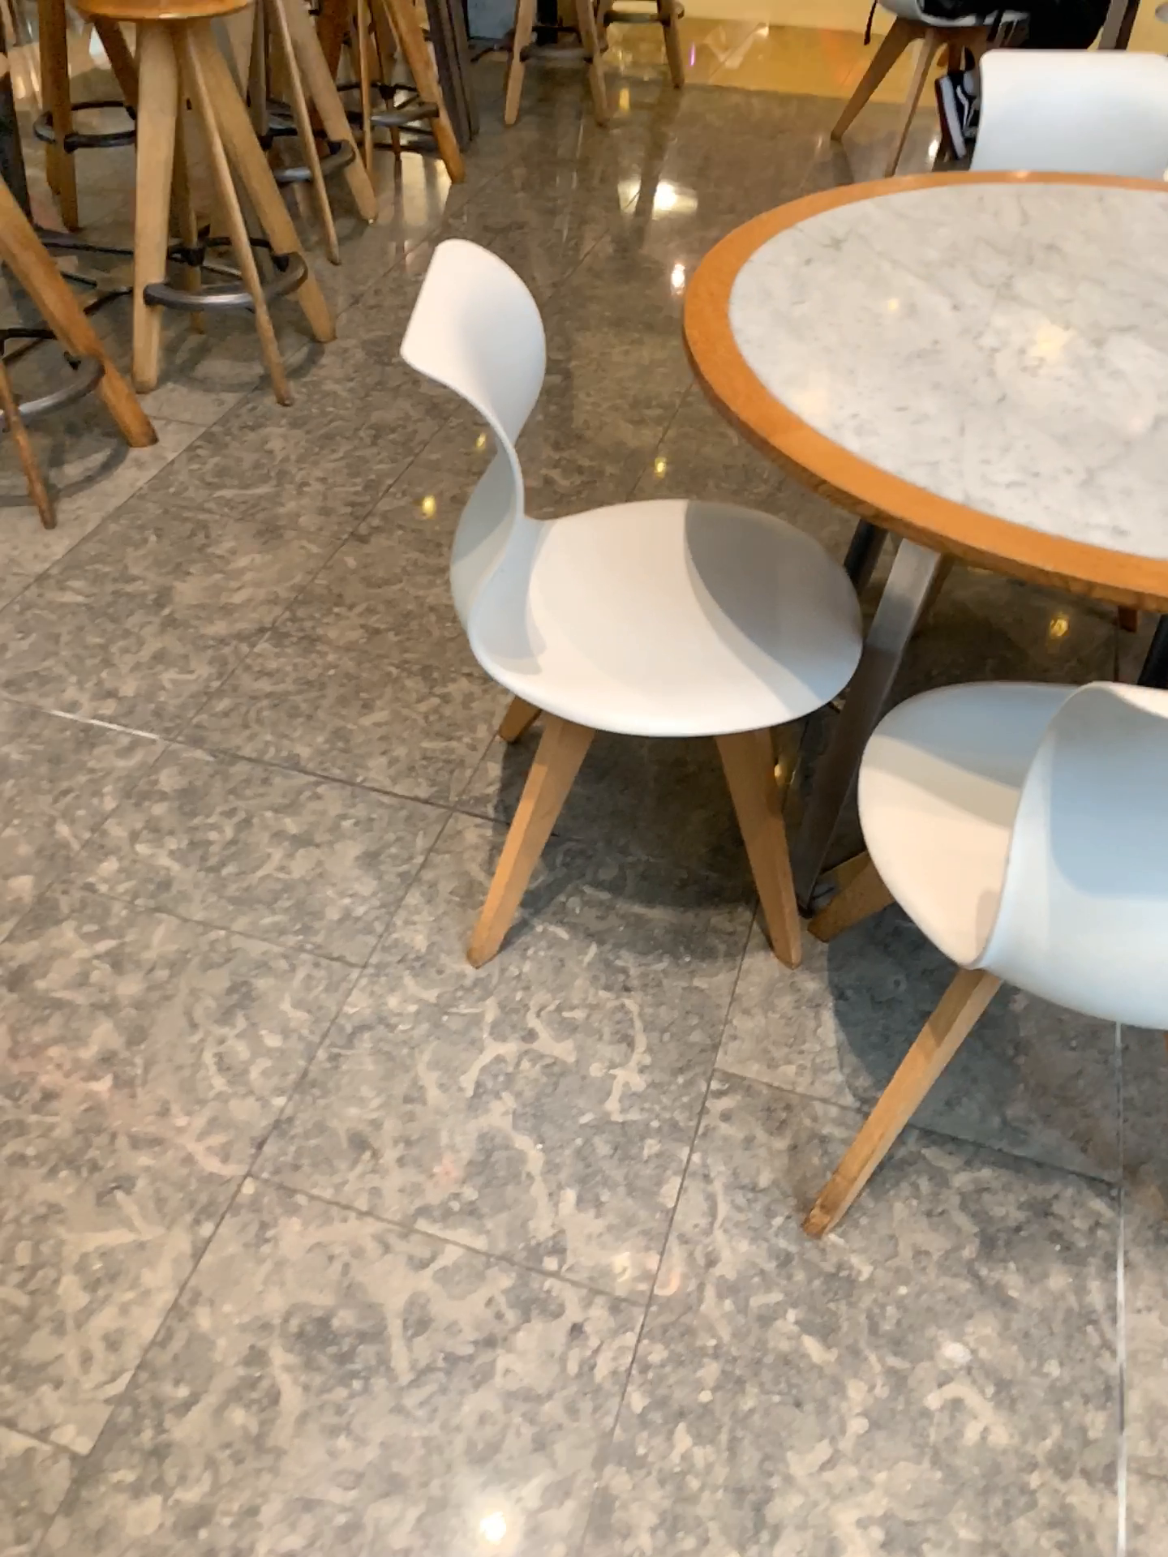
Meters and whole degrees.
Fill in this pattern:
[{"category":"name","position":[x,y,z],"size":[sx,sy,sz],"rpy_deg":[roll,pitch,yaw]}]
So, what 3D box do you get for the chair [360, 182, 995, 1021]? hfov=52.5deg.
[{"category":"chair","position":[0.082,-0.179,1.504],"size":[0.540,0.911,0.505],"rpy_deg":[2,44,1]}]
